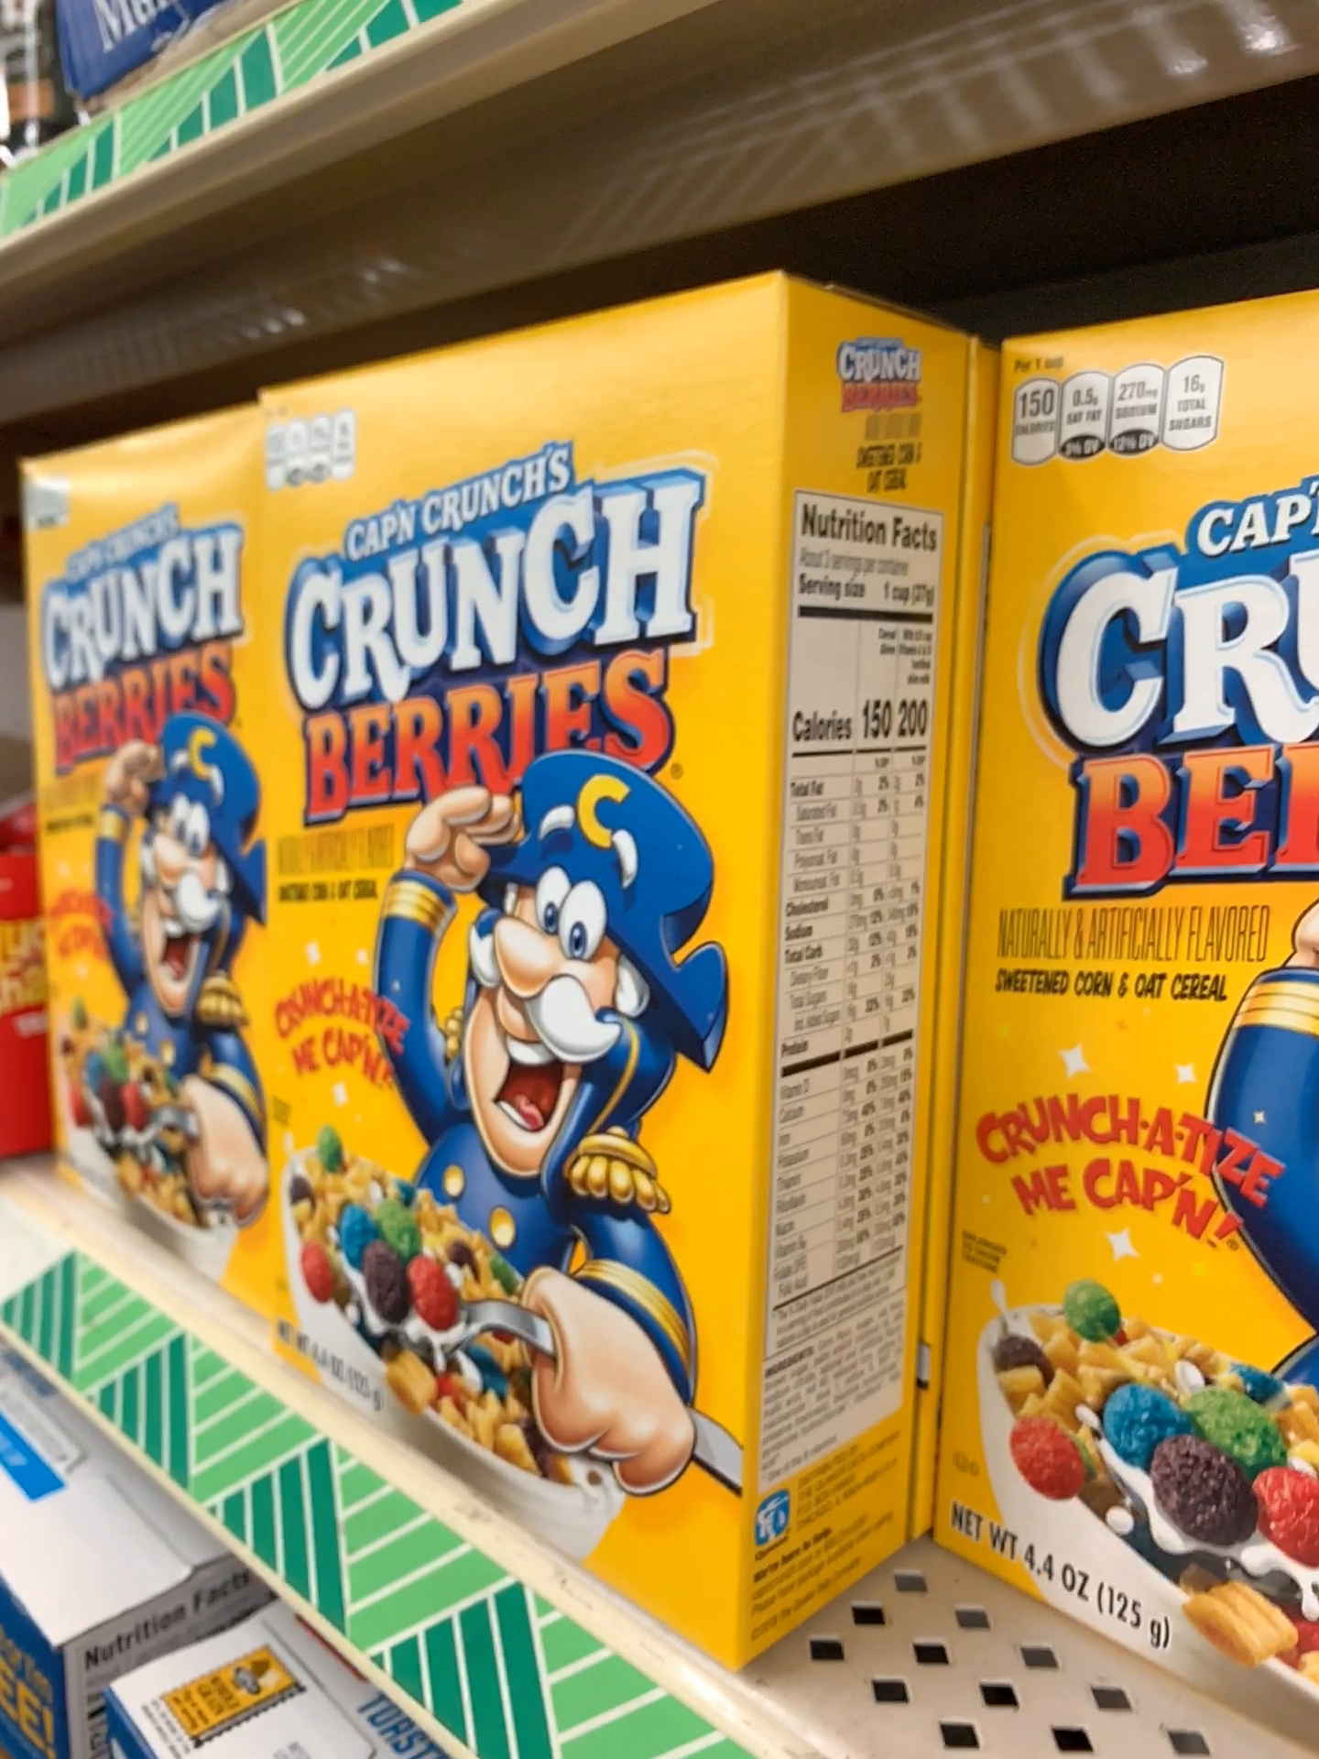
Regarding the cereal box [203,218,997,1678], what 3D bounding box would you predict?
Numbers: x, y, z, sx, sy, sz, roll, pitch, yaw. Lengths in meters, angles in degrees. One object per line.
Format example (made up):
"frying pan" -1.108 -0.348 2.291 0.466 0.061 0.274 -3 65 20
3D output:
"cereal box" -0.022 0.005 0.257 0.150 0.200 0.050 9 11 44
